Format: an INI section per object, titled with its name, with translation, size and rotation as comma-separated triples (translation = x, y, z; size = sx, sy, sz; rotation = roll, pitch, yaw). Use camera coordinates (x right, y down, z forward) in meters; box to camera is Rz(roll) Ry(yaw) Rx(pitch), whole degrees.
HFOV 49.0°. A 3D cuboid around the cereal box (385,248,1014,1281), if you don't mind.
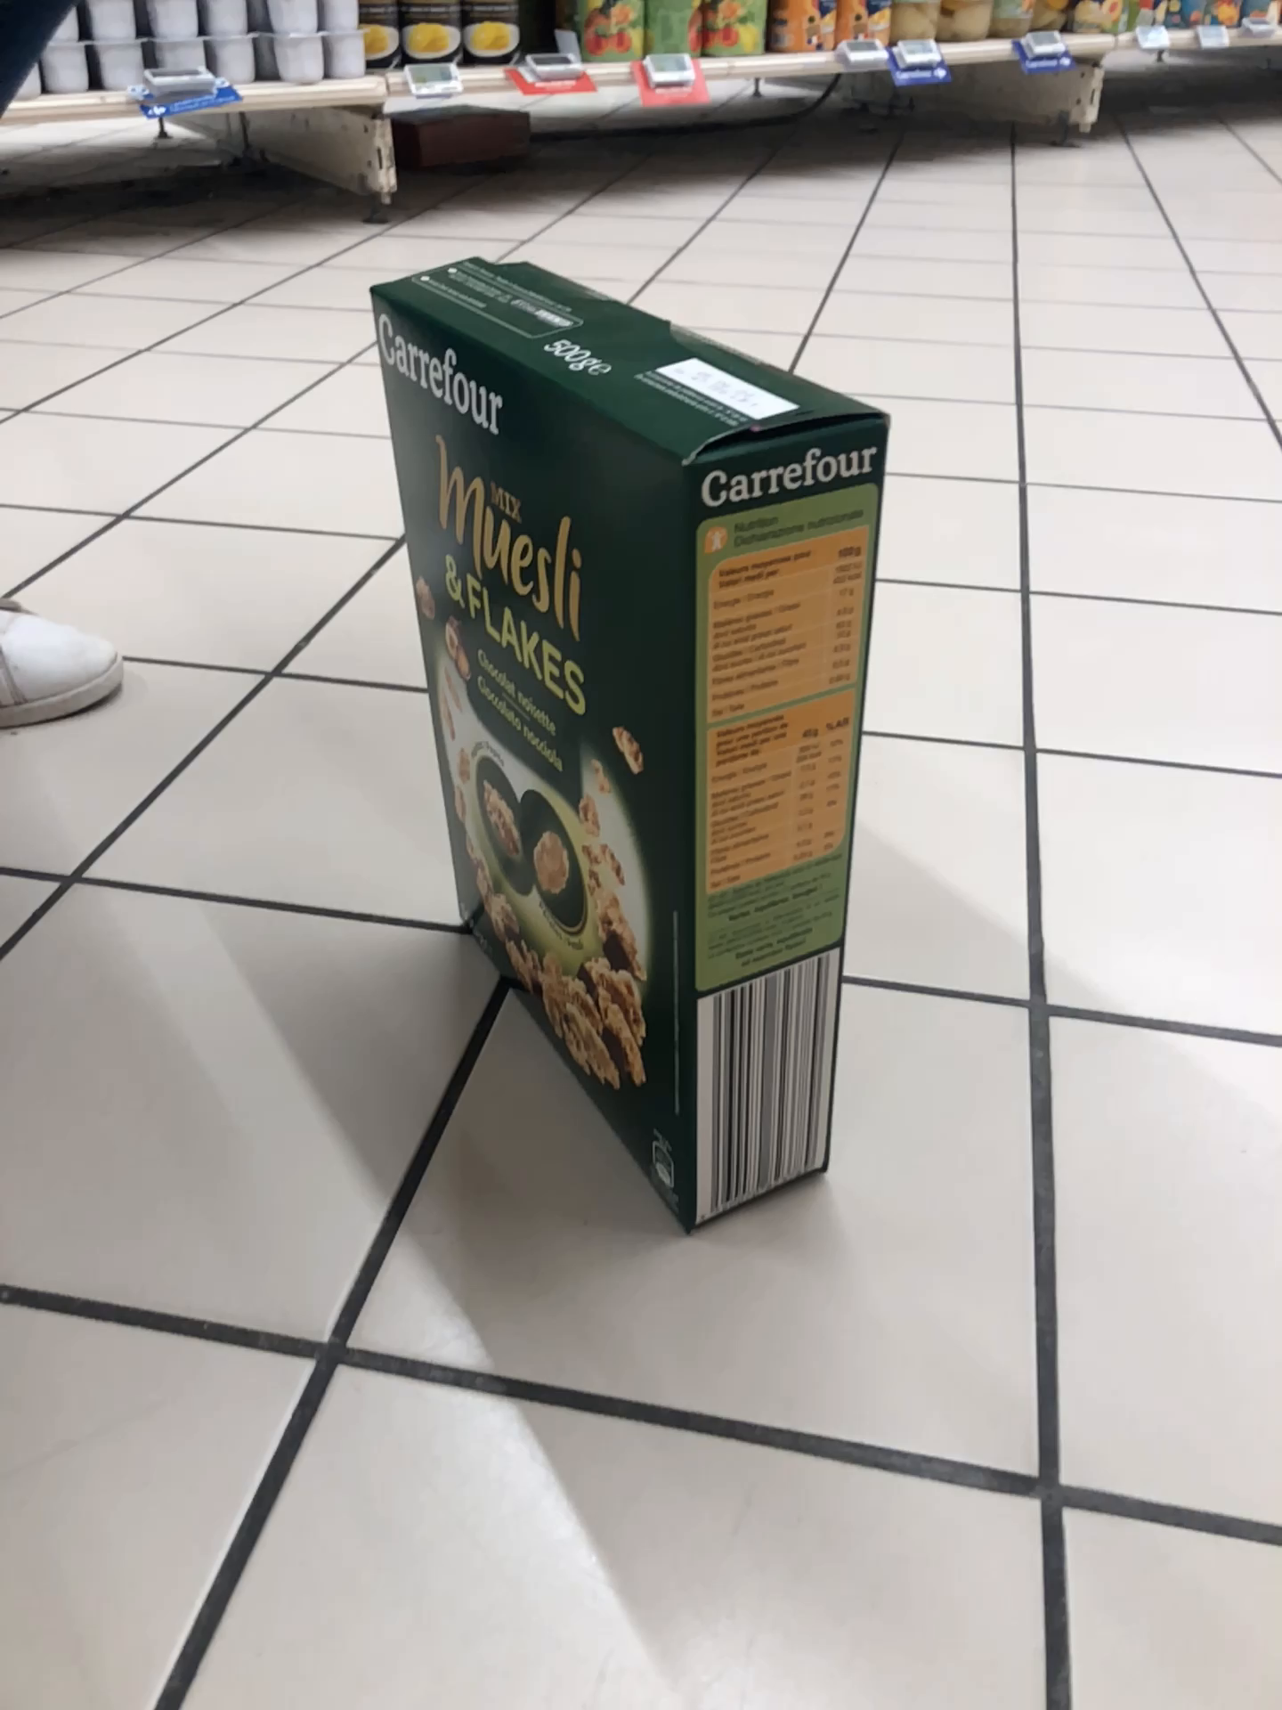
[cereal box]
translation = 0.006, -0.036, 0.442
size = 0.080, 0.249, 0.201
rotation = -17, 37, -21
